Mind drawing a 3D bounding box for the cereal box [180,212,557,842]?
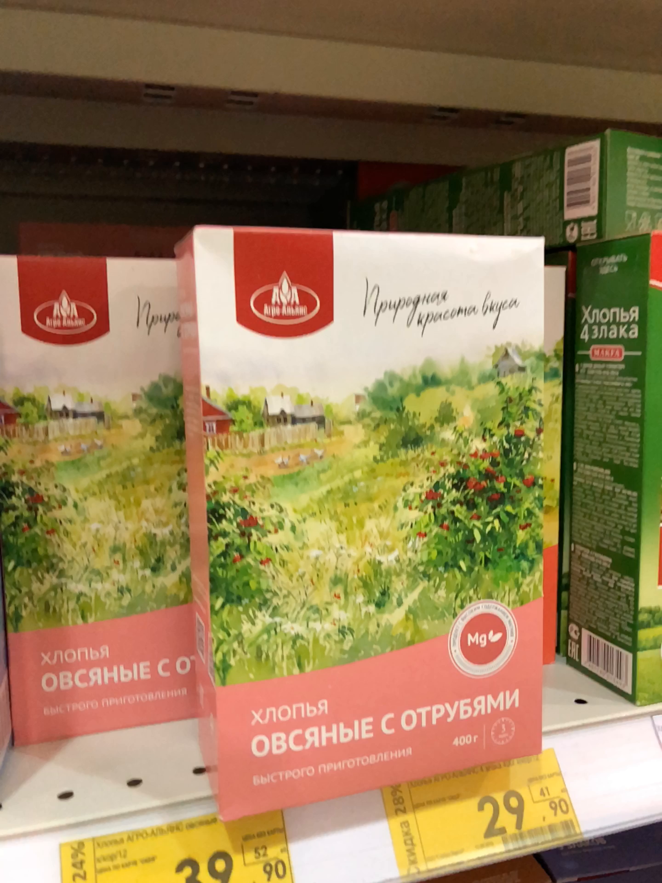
[{"bbox_3d":[0.014,0.026,0.288,0.130,0.210,0.060,-3,6,-18],"label":"cereal box"}]
